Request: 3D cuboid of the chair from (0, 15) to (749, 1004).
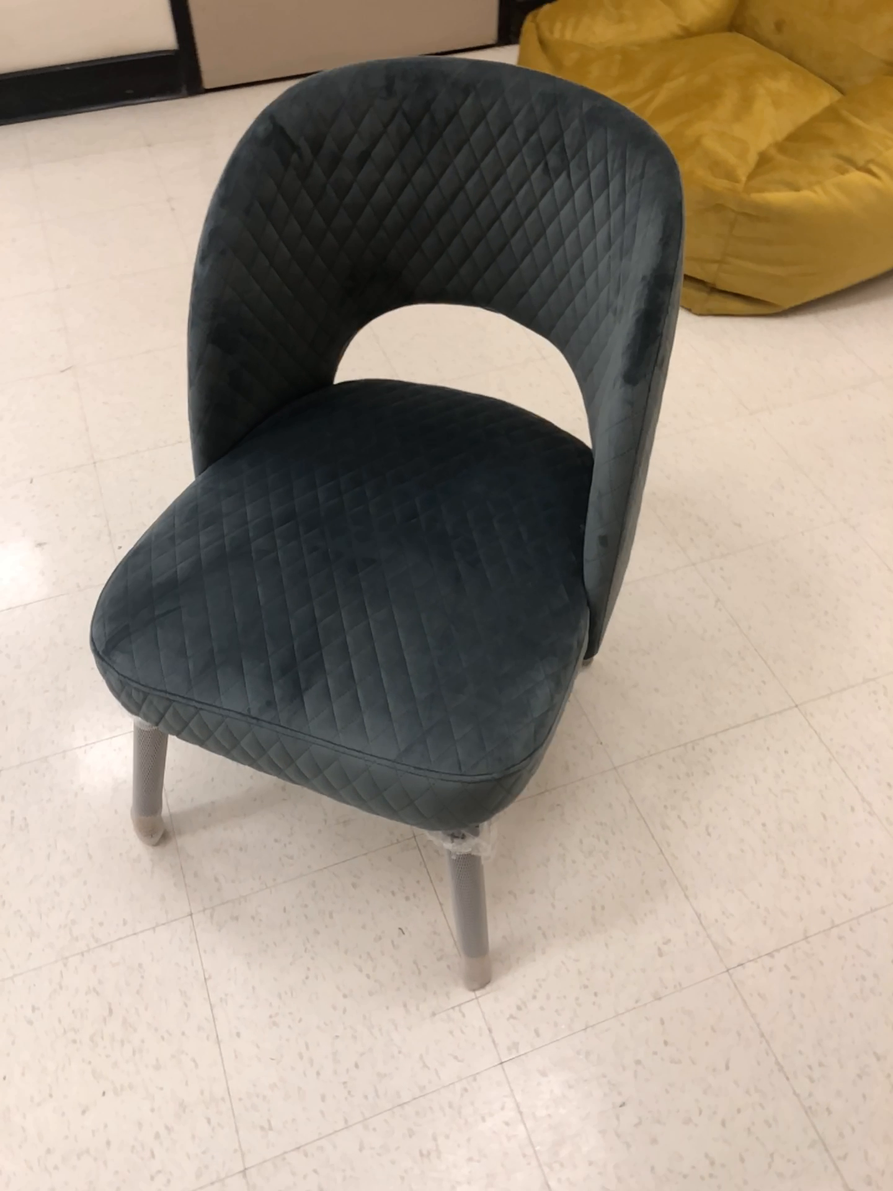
[{"bbox_3d":[-0.079,-0.057,1.136,0.532,0.857,0.581,18,52,15],"label":"chair"}]
